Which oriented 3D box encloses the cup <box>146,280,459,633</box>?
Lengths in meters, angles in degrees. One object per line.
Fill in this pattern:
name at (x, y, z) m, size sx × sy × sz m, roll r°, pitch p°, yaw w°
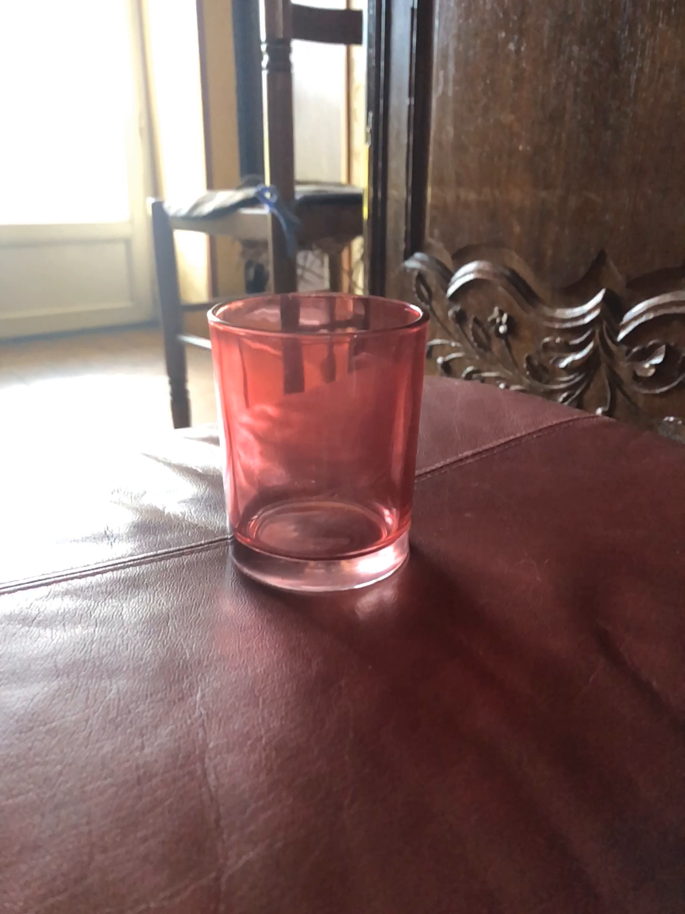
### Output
cup at (-0.013, -0.008, 0.255) m, size 0.070 × 0.090 × 0.070 m, roll 0°, pitch 19°, yaw 0°
